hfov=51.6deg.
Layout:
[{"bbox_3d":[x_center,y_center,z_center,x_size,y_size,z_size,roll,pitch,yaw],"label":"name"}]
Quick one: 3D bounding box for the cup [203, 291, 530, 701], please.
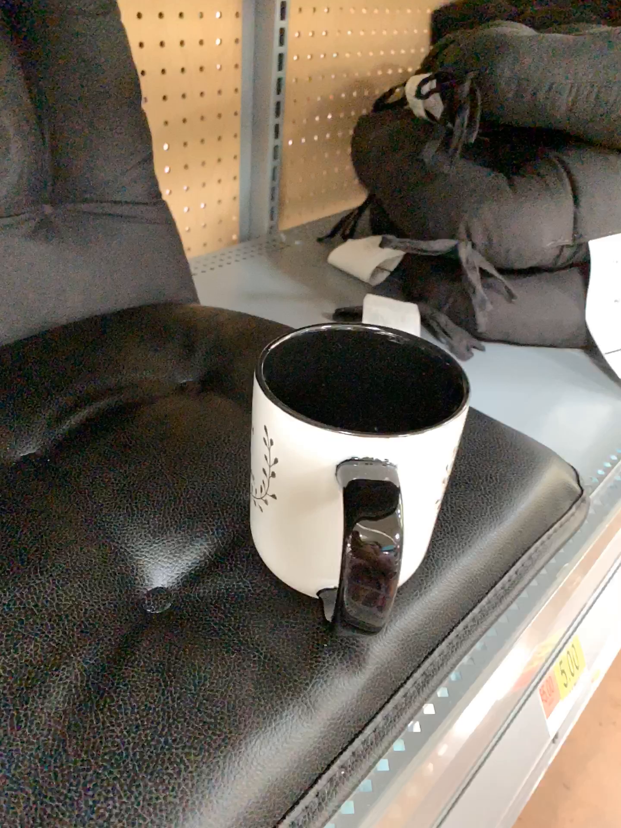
[{"bbox_3d":[0.020,0.027,0.287,0.101,0.104,0.142,5,36,2],"label":"cup"}]
